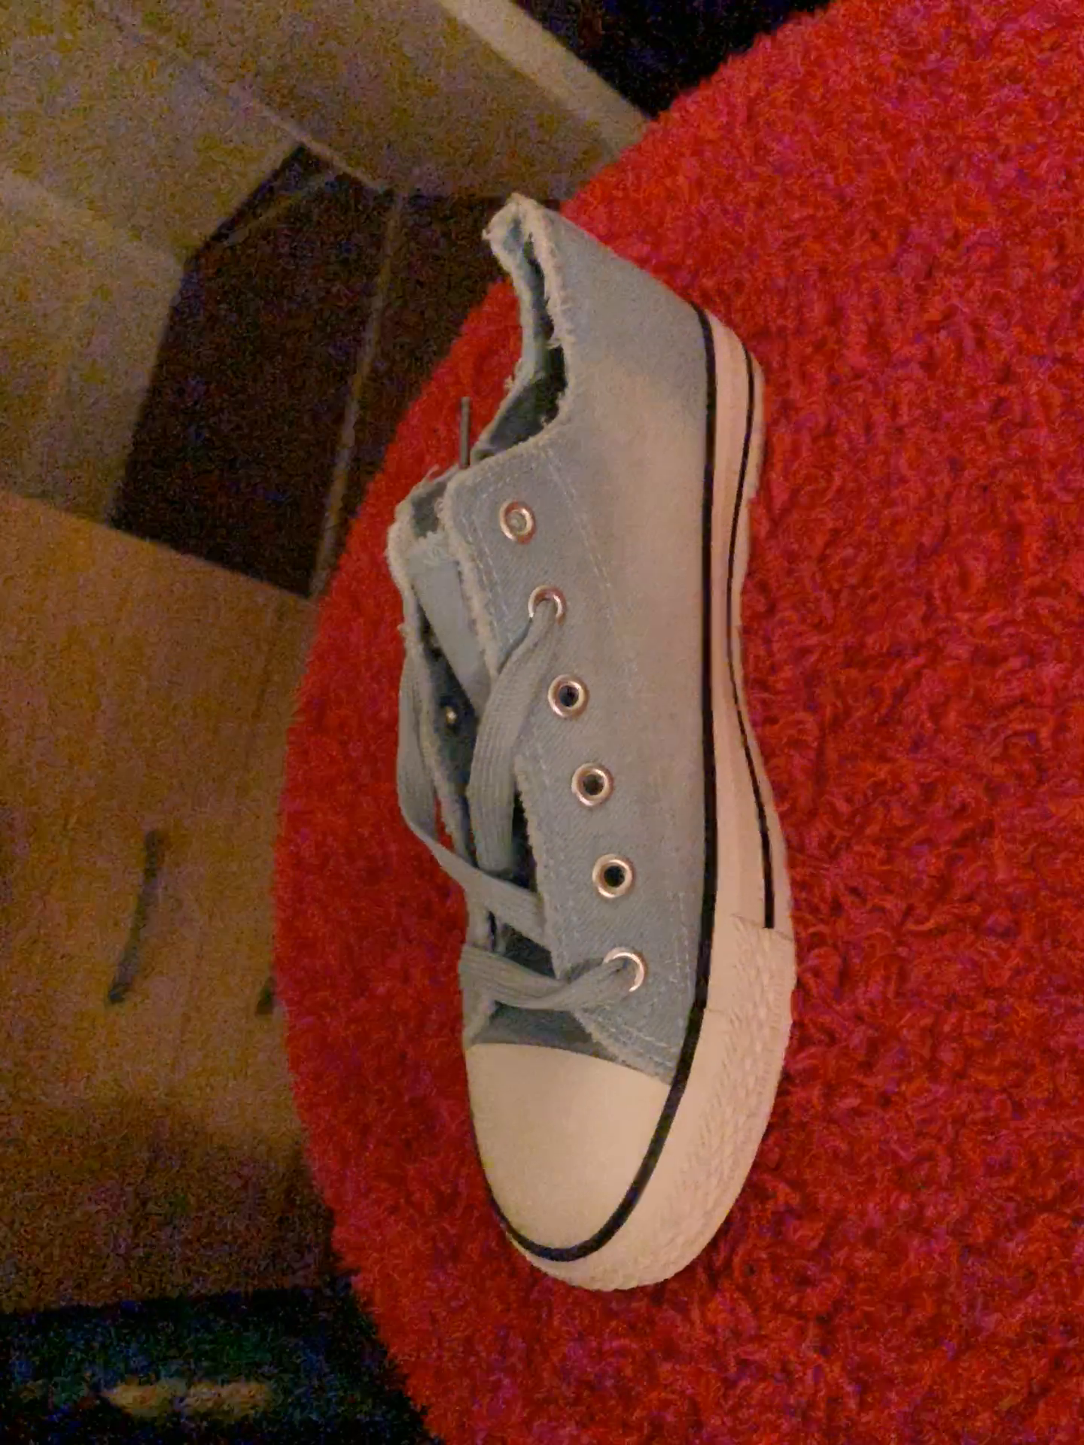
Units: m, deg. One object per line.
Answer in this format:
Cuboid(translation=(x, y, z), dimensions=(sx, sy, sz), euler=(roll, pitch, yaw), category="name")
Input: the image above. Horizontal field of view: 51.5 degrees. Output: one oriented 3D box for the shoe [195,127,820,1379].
Cuboid(translation=(0.000, 0.004, 0.277), dimensions=(0.098, 0.086, 0.250), euler=(-13, 65, 46), category="shoe")
